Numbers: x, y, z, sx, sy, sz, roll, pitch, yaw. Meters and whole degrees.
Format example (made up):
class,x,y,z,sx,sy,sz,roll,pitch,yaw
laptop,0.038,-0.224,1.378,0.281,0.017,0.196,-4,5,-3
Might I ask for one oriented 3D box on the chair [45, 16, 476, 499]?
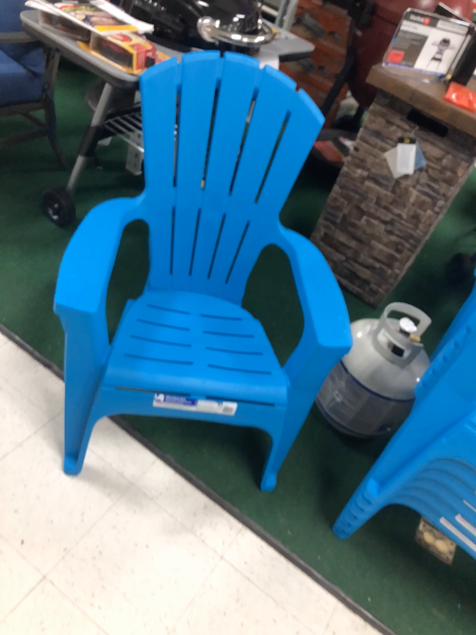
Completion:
class,x,y,z,sx,sy,sz,roll,pitch,yaw
chair,-0.067,-0.081,1.355,0.682,0.932,0.649,9,44,-13
